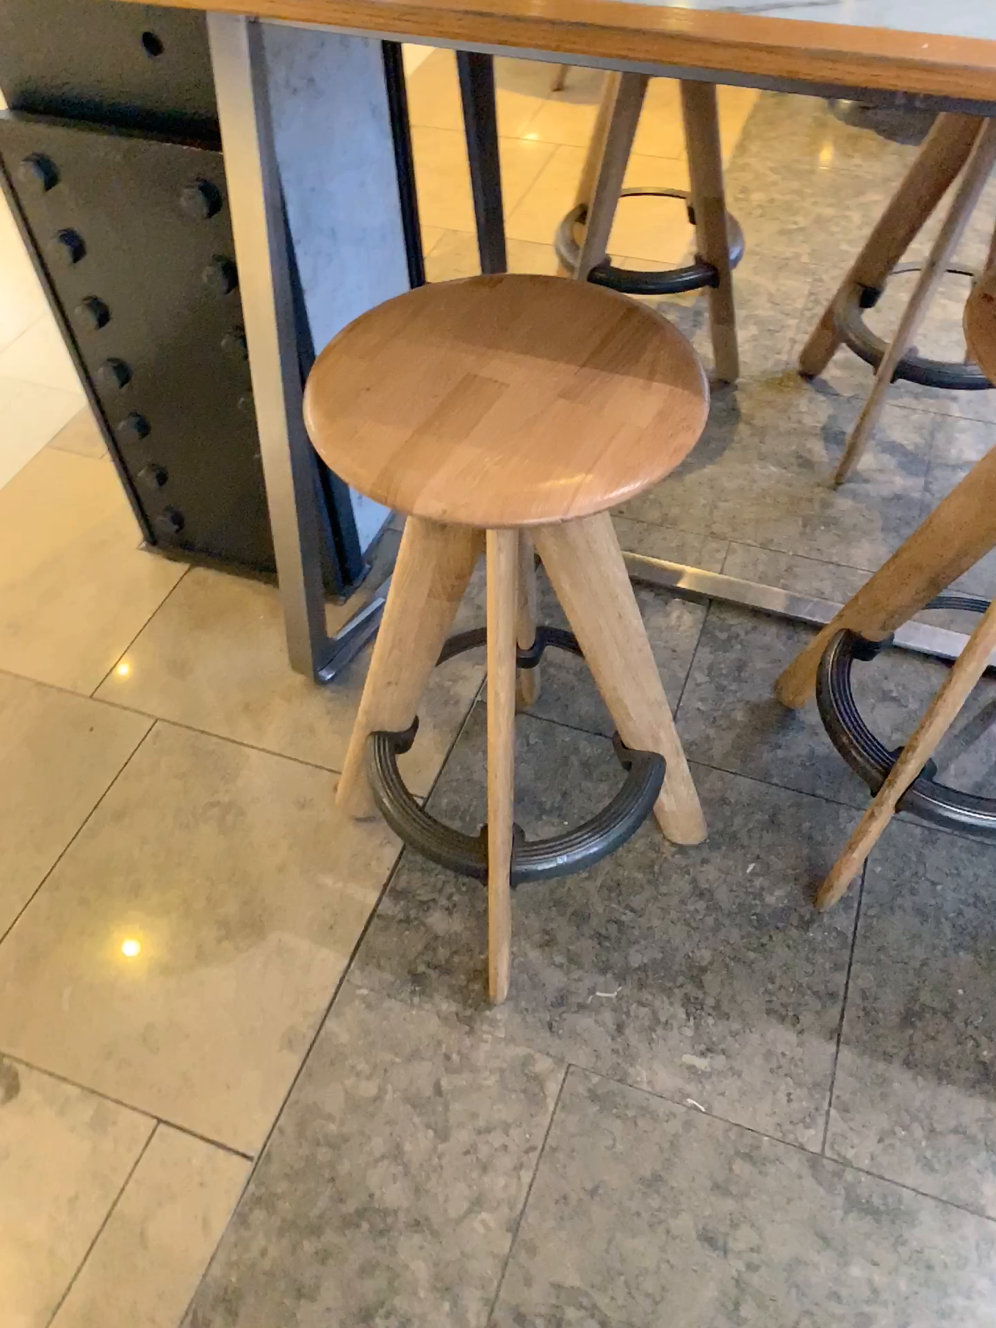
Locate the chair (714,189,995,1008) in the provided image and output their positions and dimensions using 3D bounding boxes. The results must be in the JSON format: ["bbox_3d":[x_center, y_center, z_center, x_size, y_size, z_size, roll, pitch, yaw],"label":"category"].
[{"bbox_3d":[0.554,-0.033,1.091,0.463,0.707,0.426,15,53,14],"label":"chair"}]

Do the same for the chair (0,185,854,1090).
[{"bbox_3d":[-0.007,-0.008,1.103,0.533,0.707,0.557,15,53,14],"label":"chair"}]
